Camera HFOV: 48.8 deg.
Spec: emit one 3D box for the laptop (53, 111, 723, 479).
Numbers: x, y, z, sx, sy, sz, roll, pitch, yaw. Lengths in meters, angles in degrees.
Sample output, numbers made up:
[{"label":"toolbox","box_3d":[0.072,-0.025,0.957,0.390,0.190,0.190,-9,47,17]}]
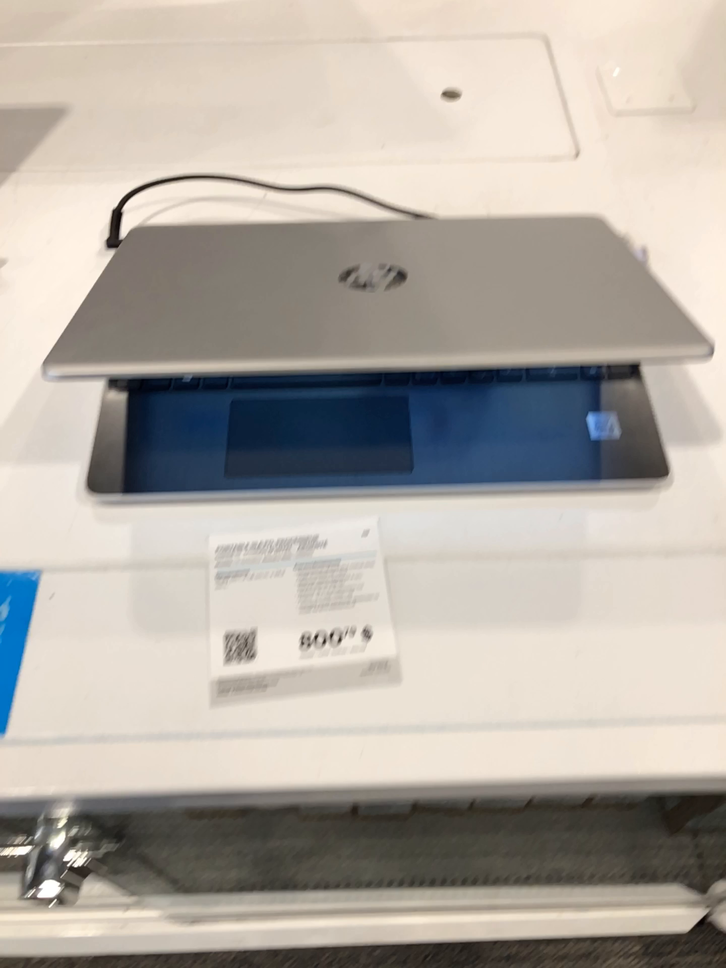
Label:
[{"label":"laptop","box_3d":[0.009,-0.125,0.508,0.341,0.086,0.229,-1,56,1]}]
